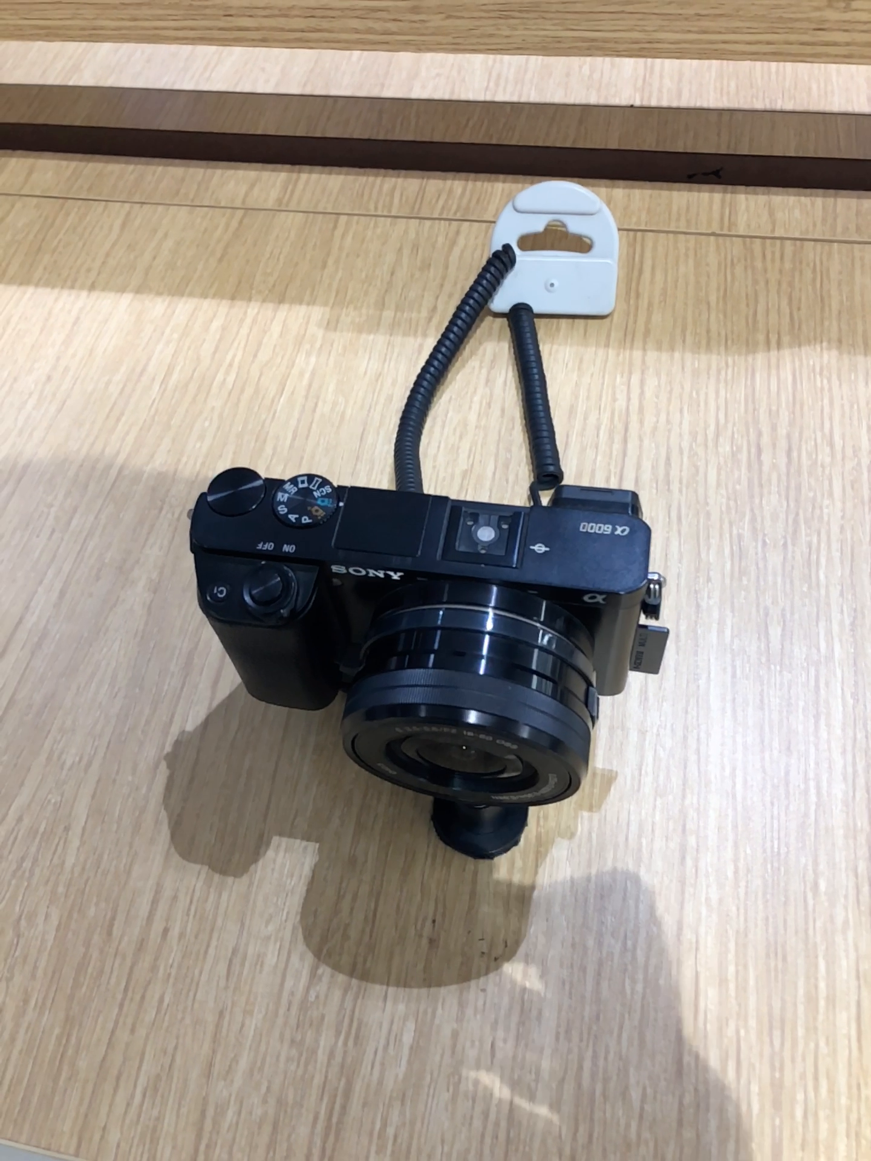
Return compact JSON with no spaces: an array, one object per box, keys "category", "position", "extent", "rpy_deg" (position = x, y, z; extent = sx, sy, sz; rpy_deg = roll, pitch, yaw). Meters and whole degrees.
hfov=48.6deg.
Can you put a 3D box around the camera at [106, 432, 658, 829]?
[{"category":"camera","position":[-0.007,0.013,0.231],"extent":[0.107,0.070,0.059],"rpy_deg":[5,59,8]}]
